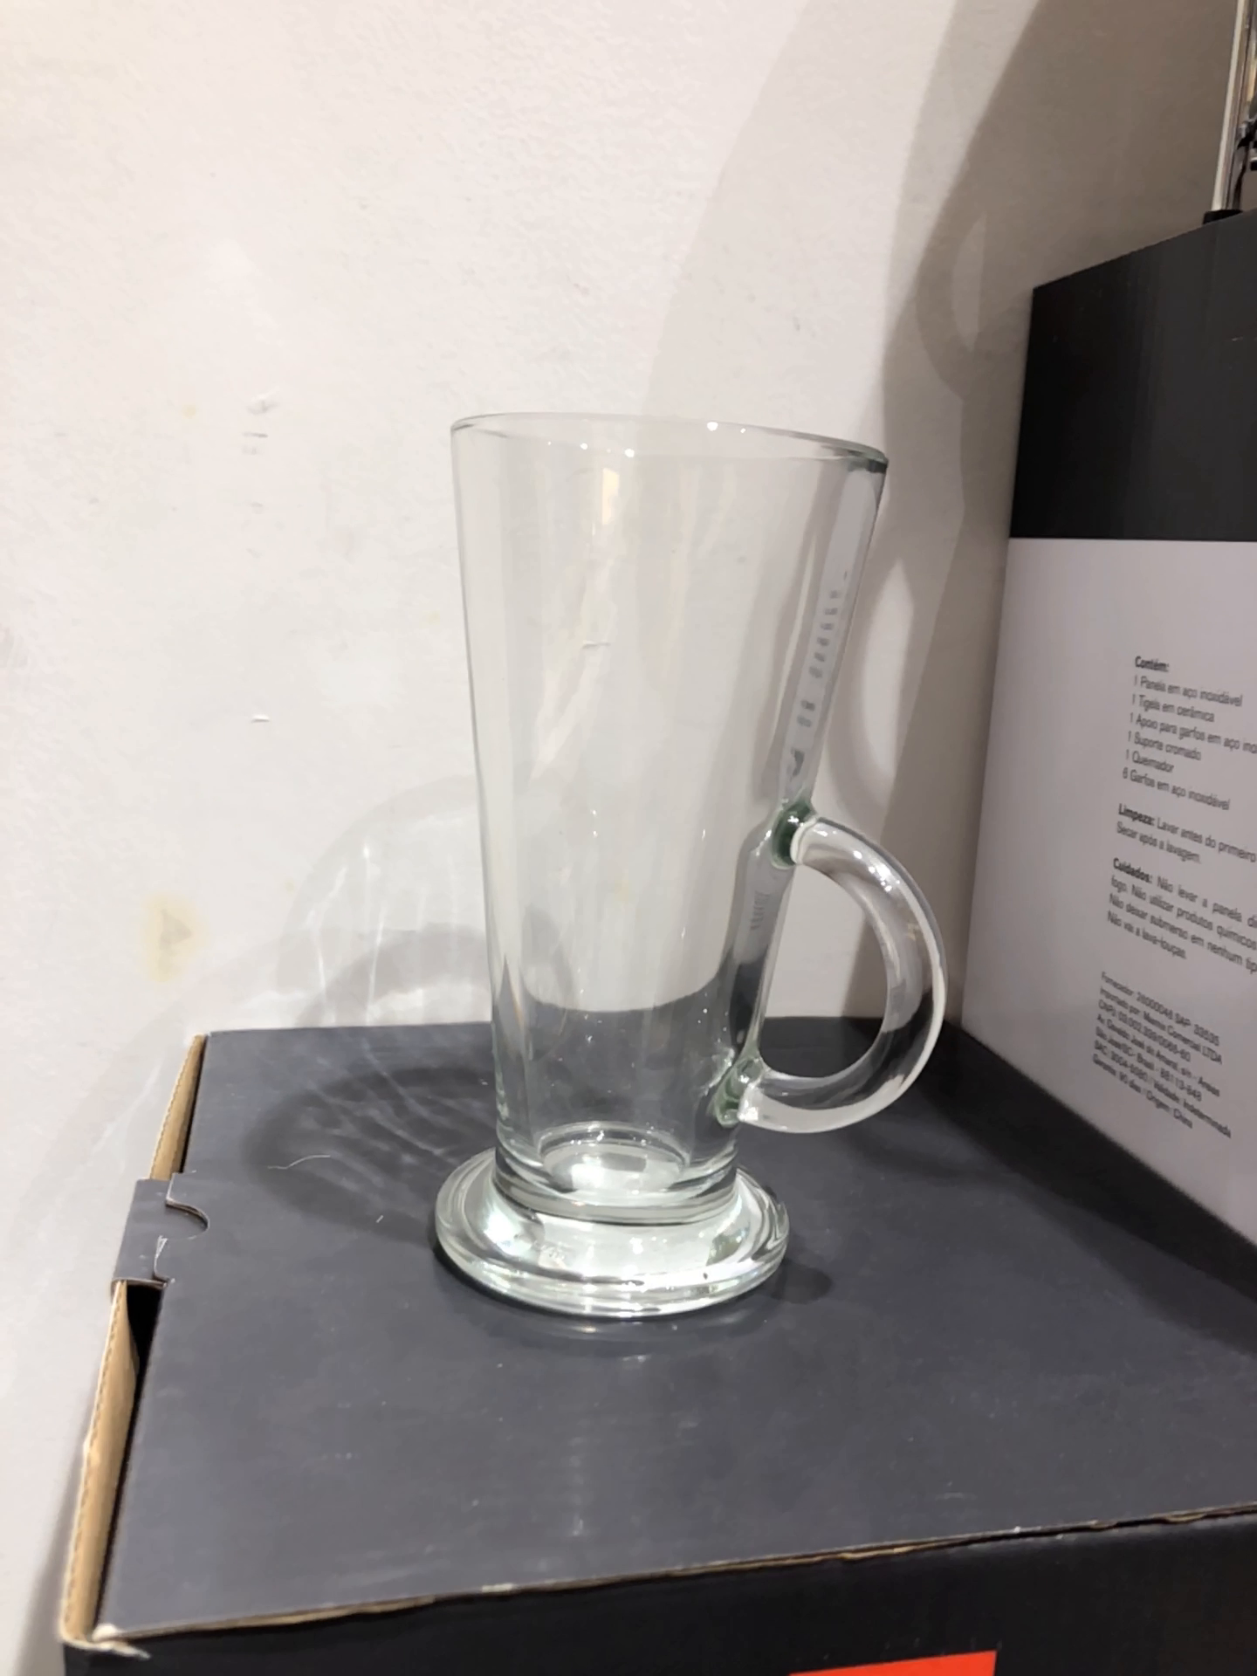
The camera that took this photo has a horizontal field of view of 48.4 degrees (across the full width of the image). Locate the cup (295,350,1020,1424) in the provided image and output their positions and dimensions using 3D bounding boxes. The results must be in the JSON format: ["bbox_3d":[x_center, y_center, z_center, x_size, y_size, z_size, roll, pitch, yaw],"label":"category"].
[{"bbox_3d":[0.005,-0.001,0.245,0.090,0.149,0.080,10,13,28],"label":"cup"}]
